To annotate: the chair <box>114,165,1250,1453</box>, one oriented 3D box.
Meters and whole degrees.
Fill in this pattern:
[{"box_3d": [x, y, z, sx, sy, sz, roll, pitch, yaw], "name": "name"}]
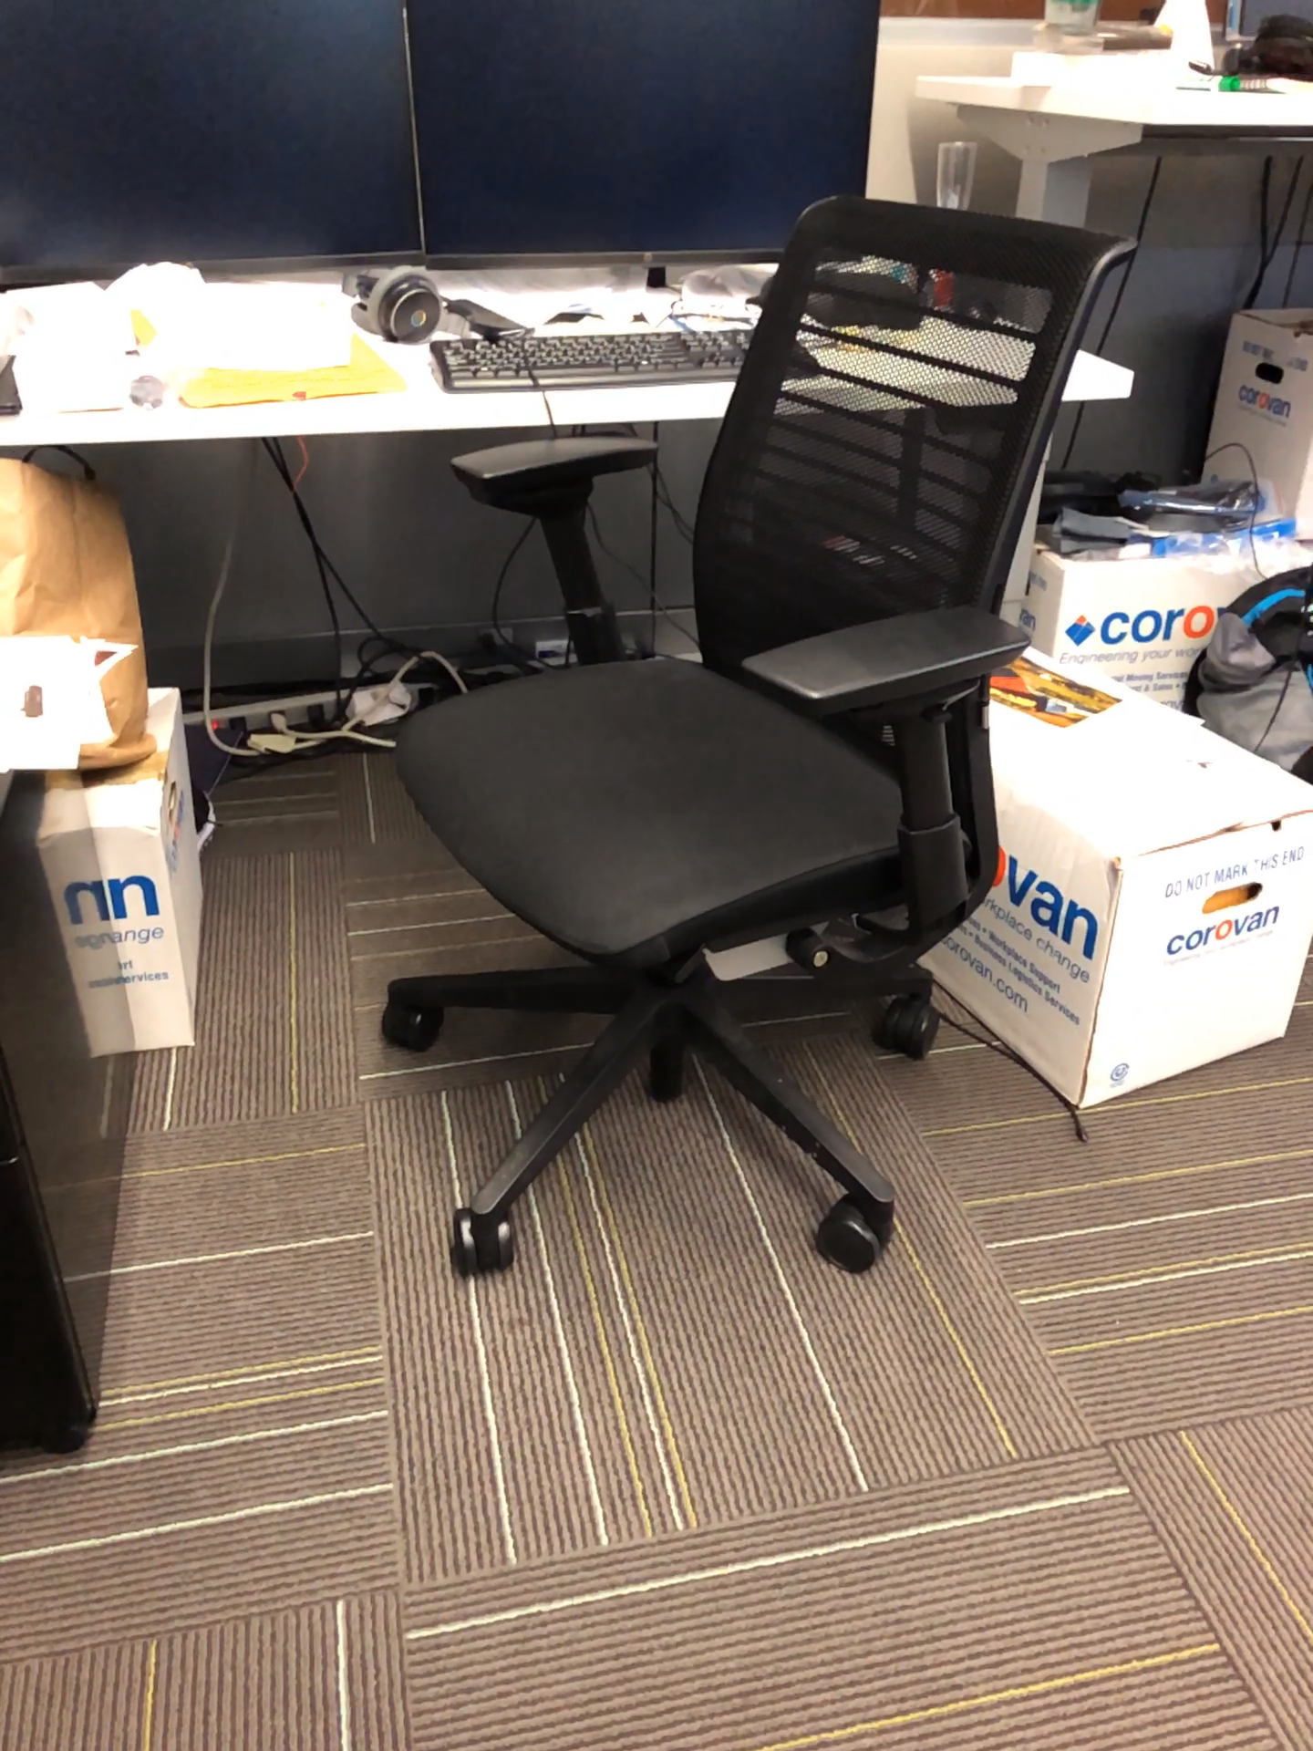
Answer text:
[{"box_3d": [-0.033, -0.159, 1.521, 0.701, 0.994, 0.783, -17, 34, -27], "name": "chair"}]
